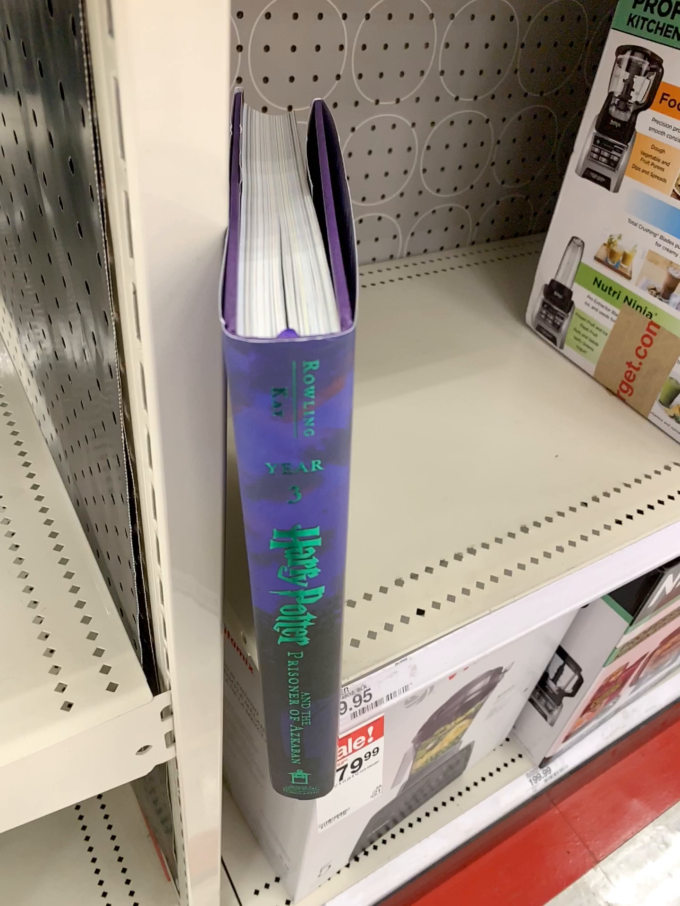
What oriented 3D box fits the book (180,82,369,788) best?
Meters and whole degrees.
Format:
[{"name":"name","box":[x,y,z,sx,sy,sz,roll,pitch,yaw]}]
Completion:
[{"name":"book","box":[-0.028,-0.007,0.369,0.050,0.280,0.241,-1,42,-3]}]
